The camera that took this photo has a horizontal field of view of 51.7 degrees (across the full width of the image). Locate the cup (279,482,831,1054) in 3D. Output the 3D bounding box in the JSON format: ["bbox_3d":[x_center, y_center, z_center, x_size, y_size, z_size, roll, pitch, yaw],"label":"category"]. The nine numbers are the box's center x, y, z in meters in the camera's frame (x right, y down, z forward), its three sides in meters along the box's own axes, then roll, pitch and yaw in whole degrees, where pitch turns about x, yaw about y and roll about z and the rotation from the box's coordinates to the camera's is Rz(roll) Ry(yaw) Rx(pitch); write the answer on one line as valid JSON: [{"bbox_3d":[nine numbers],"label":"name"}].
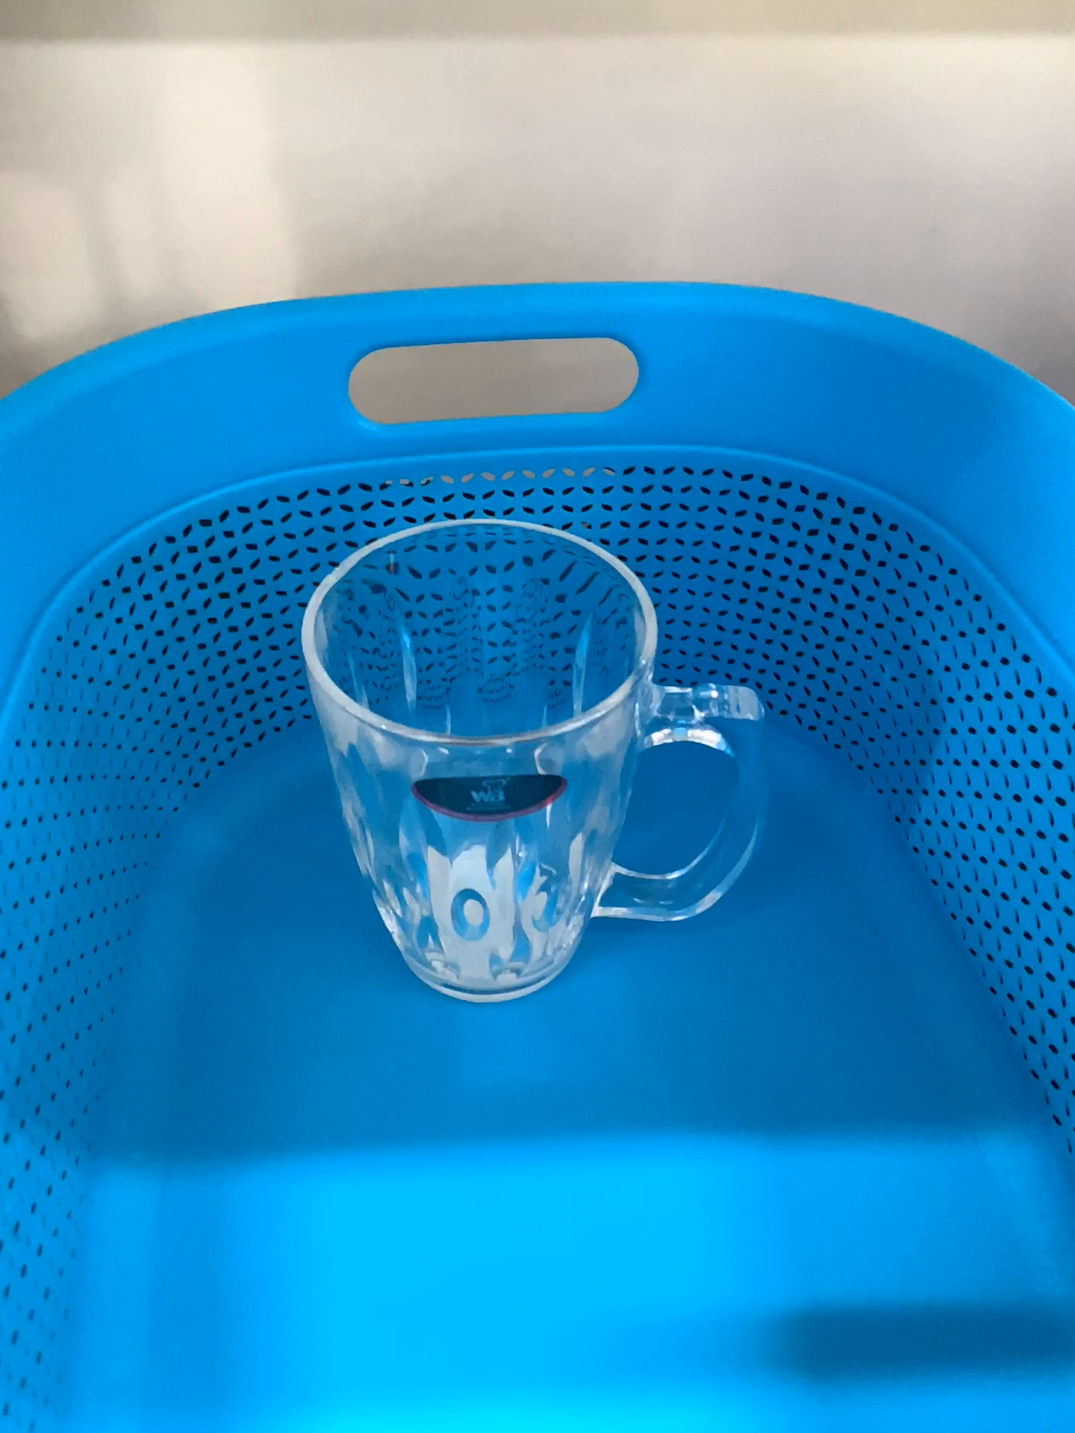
[{"bbox_3d":[-0.001,0.015,0.285,0.109,0.116,0.078,-5,44,-6],"label":"cup"}]
